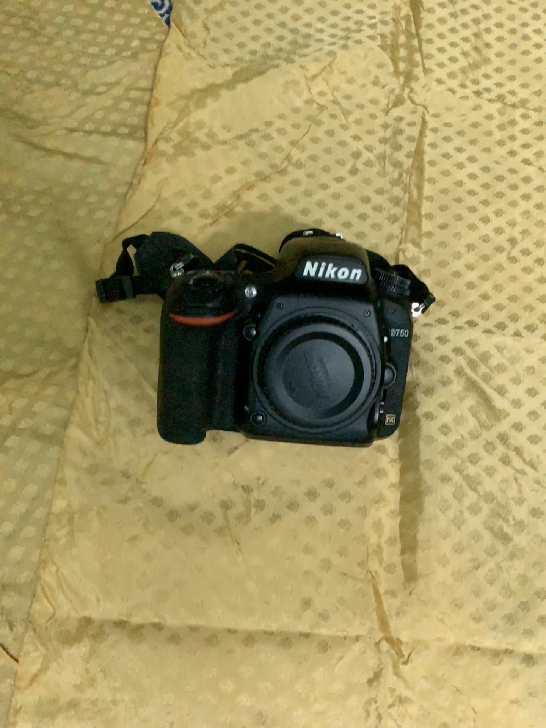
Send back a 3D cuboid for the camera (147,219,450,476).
[{"bbox_3d":[0.008,-0.013,0.296,0.130,0.073,0.110,5,103,-3],"label":"camera"}]
